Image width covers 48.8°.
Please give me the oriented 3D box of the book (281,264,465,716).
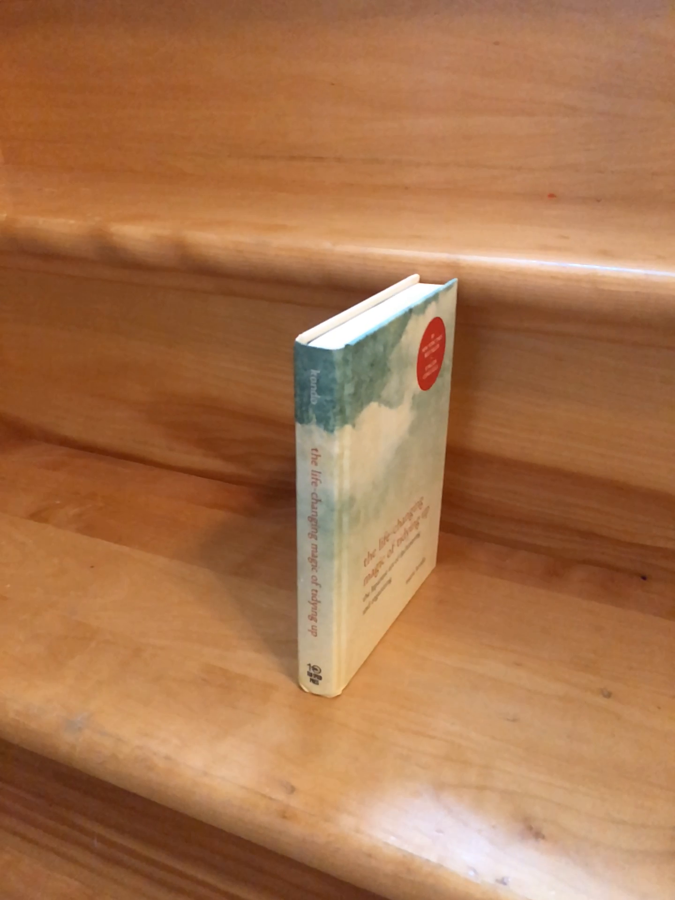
[{"bbox_3d":[0.022,0.016,0.397,0.027,0.199,0.141,15,30,26],"label":"book"}]
